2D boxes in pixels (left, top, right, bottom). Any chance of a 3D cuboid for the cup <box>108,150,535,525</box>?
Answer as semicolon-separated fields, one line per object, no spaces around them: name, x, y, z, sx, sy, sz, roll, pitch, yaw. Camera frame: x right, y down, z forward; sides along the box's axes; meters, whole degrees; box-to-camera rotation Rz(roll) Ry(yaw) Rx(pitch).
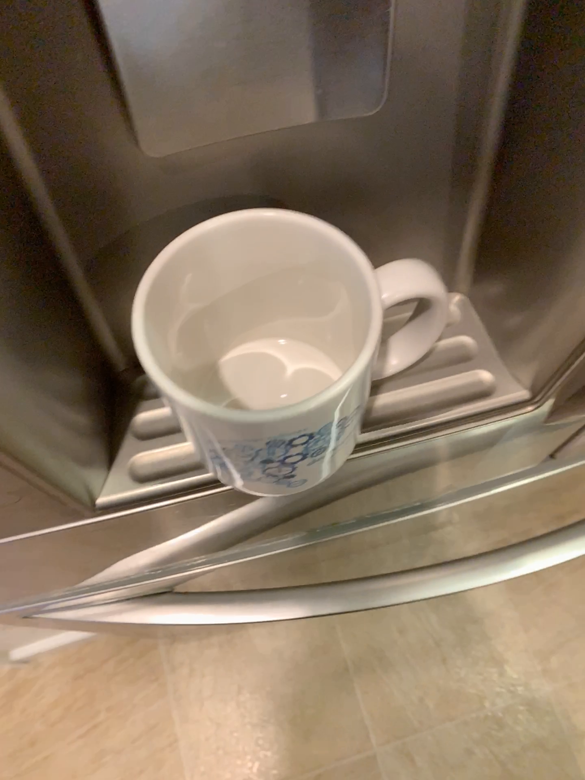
cup;0.008;-0.014;0.247;0.120;0.099;0.080;-20;67;-7
